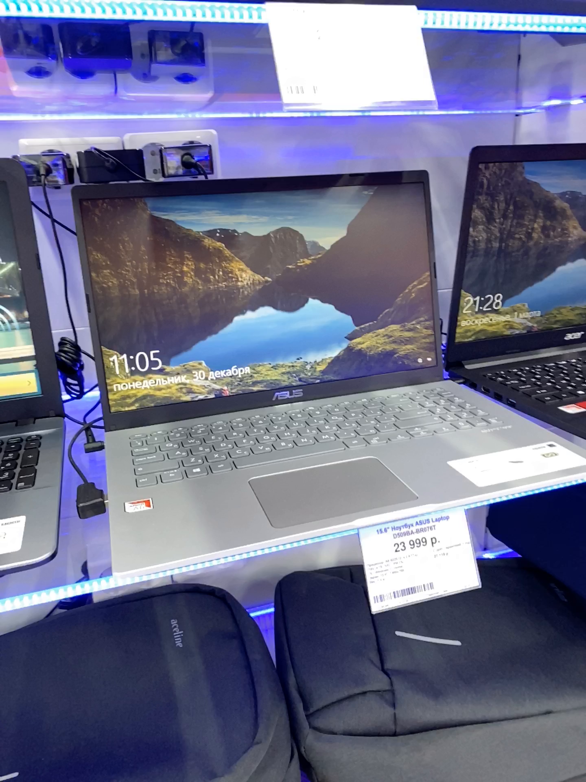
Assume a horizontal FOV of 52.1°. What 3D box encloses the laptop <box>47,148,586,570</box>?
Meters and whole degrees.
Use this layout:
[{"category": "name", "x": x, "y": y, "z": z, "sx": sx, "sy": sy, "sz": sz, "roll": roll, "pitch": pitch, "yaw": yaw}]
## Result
[{"category": "laptop", "x": 0.019, "y": -0.065, "z": 0.491, "sx": 0.360, "sy": 0.216, "sz": 0.286, "roll": -8, "pitch": 18, "yaw": -16}]
